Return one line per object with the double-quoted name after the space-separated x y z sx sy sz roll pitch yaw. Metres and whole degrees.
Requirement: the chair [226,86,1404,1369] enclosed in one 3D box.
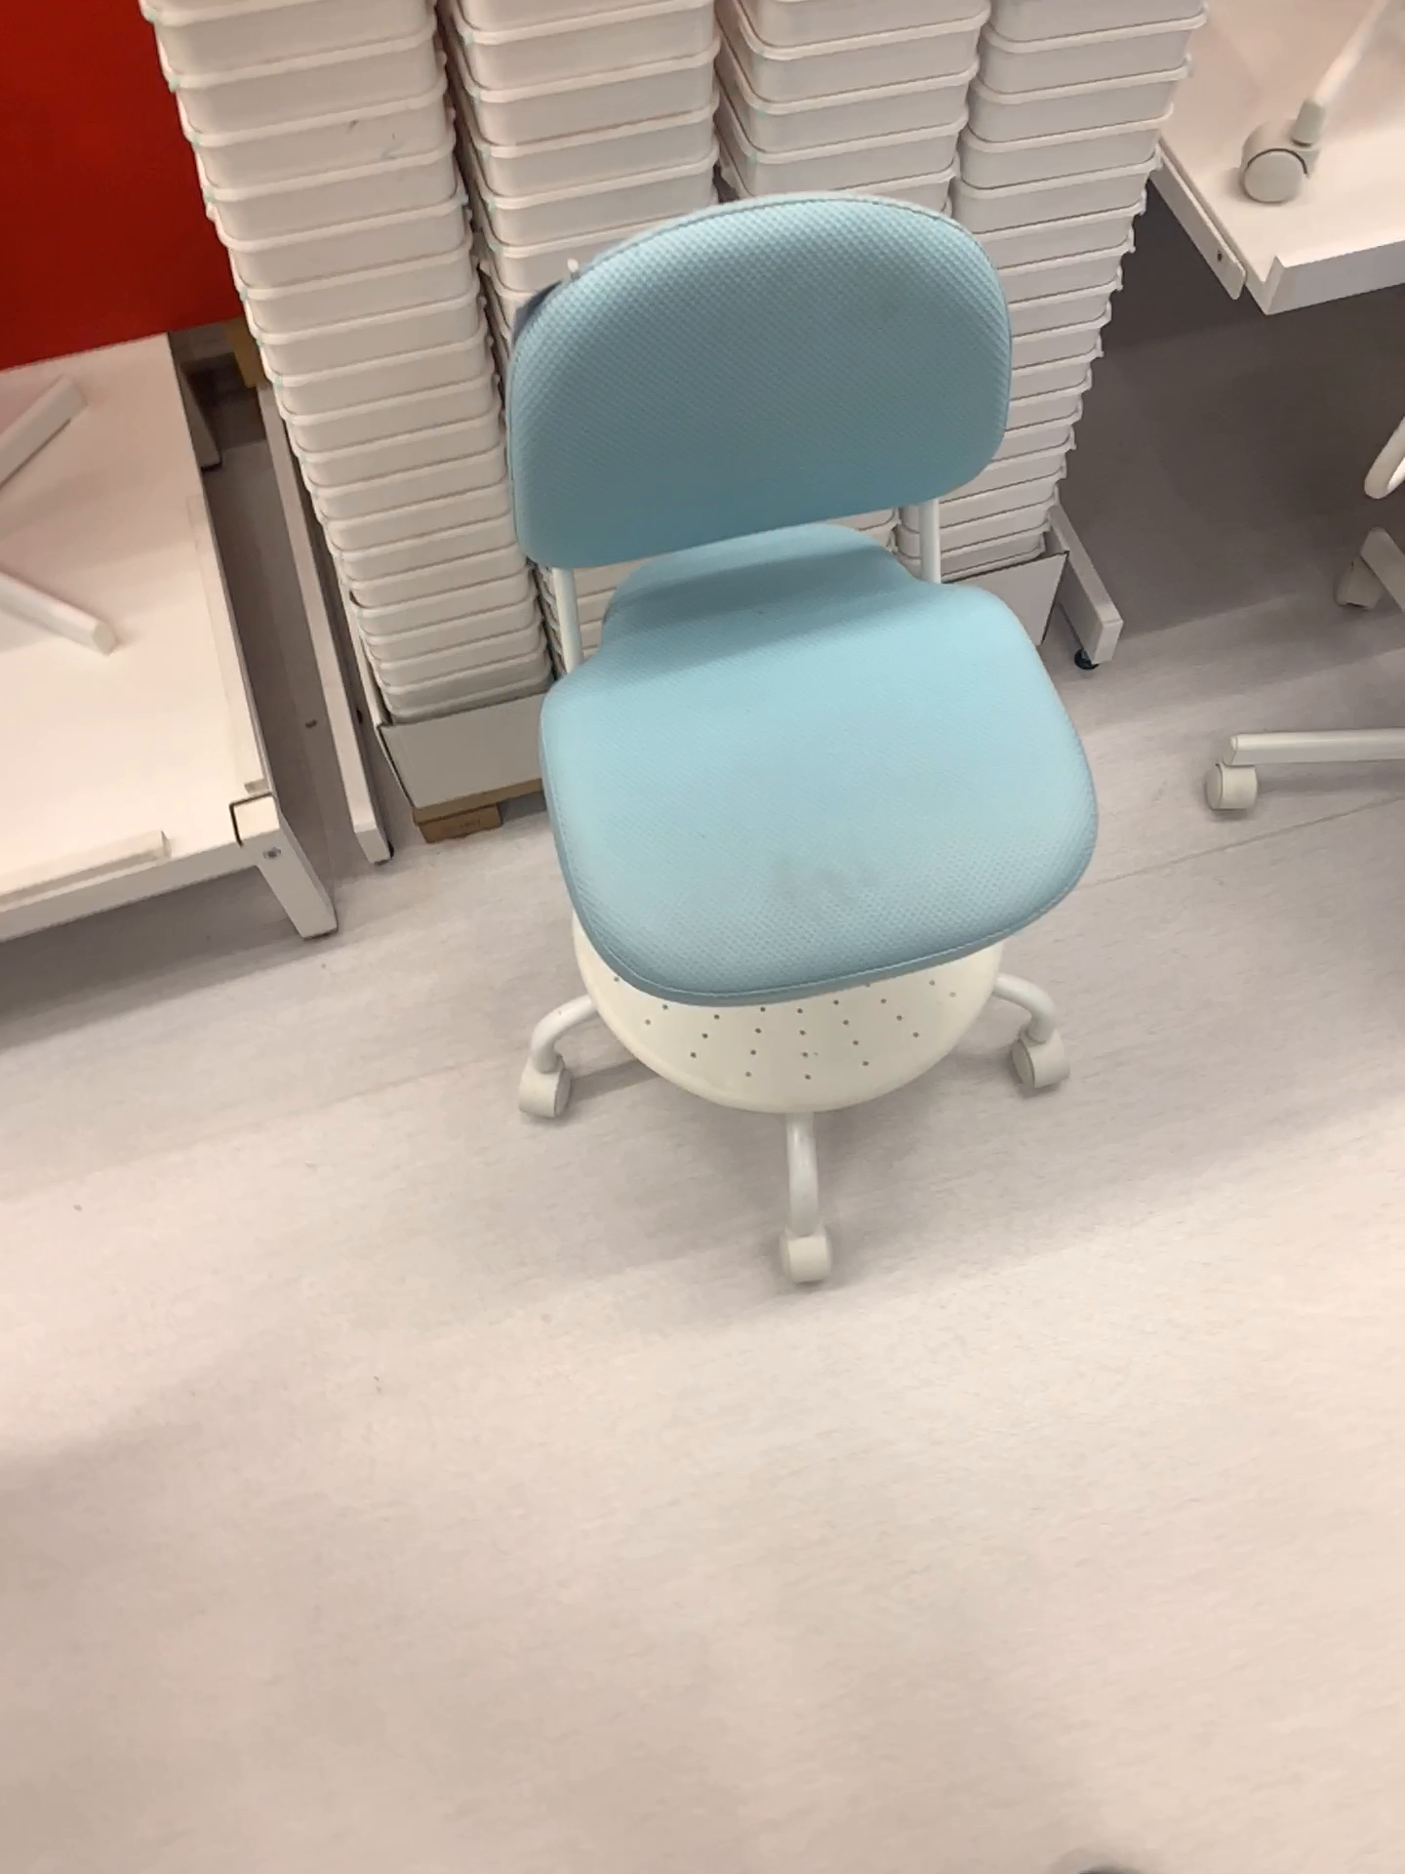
0.054 -0.101 1.186 0.570 0.749 0.611 -16 63 -6 "chair"
